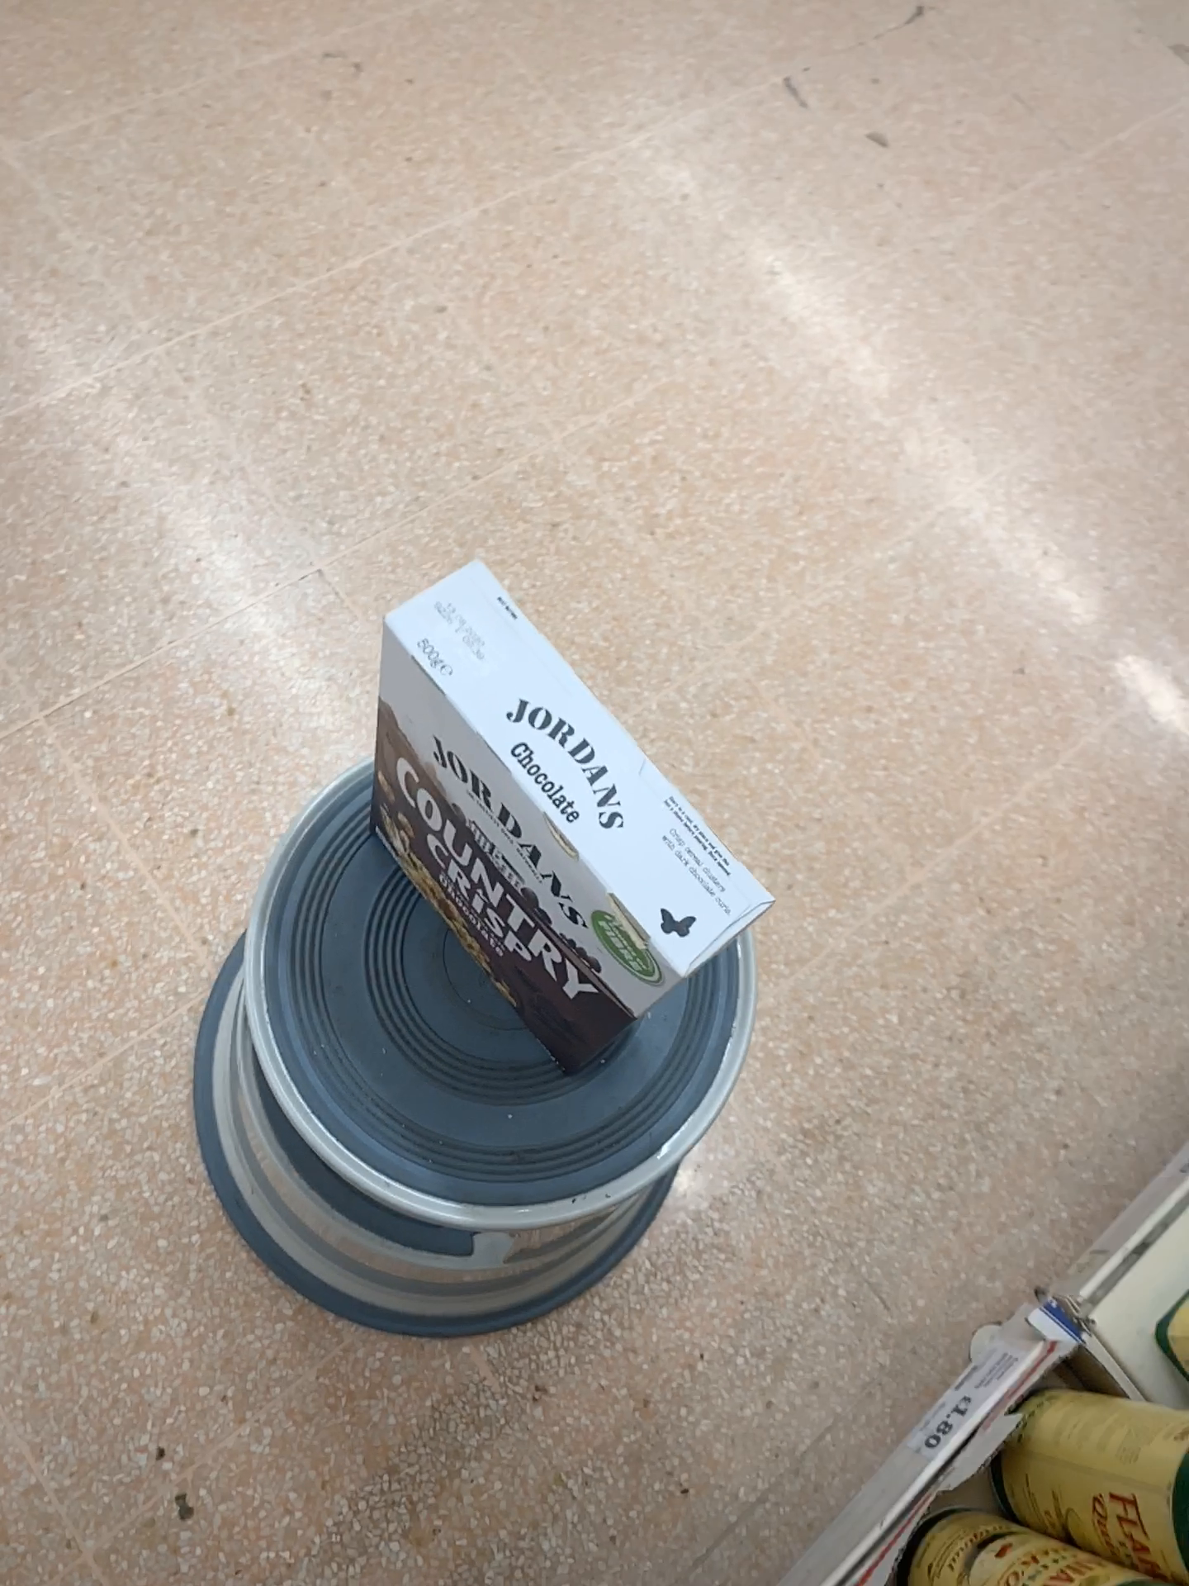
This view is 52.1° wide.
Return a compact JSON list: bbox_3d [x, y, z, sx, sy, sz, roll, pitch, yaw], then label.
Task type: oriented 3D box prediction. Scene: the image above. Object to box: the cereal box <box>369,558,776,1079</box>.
[{"bbox_3d":[-0.031,0.032,0.573,0.050,0.249,0.180,-37,80,-20],"label":"cereal box"}]
